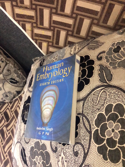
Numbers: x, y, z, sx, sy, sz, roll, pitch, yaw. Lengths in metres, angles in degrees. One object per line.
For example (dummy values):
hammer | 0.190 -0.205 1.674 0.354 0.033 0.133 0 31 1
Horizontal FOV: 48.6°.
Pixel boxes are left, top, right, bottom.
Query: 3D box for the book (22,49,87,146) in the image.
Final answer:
book | -0.026 0.040 0.441 0.201 0.030 0.270 -10 63 36
